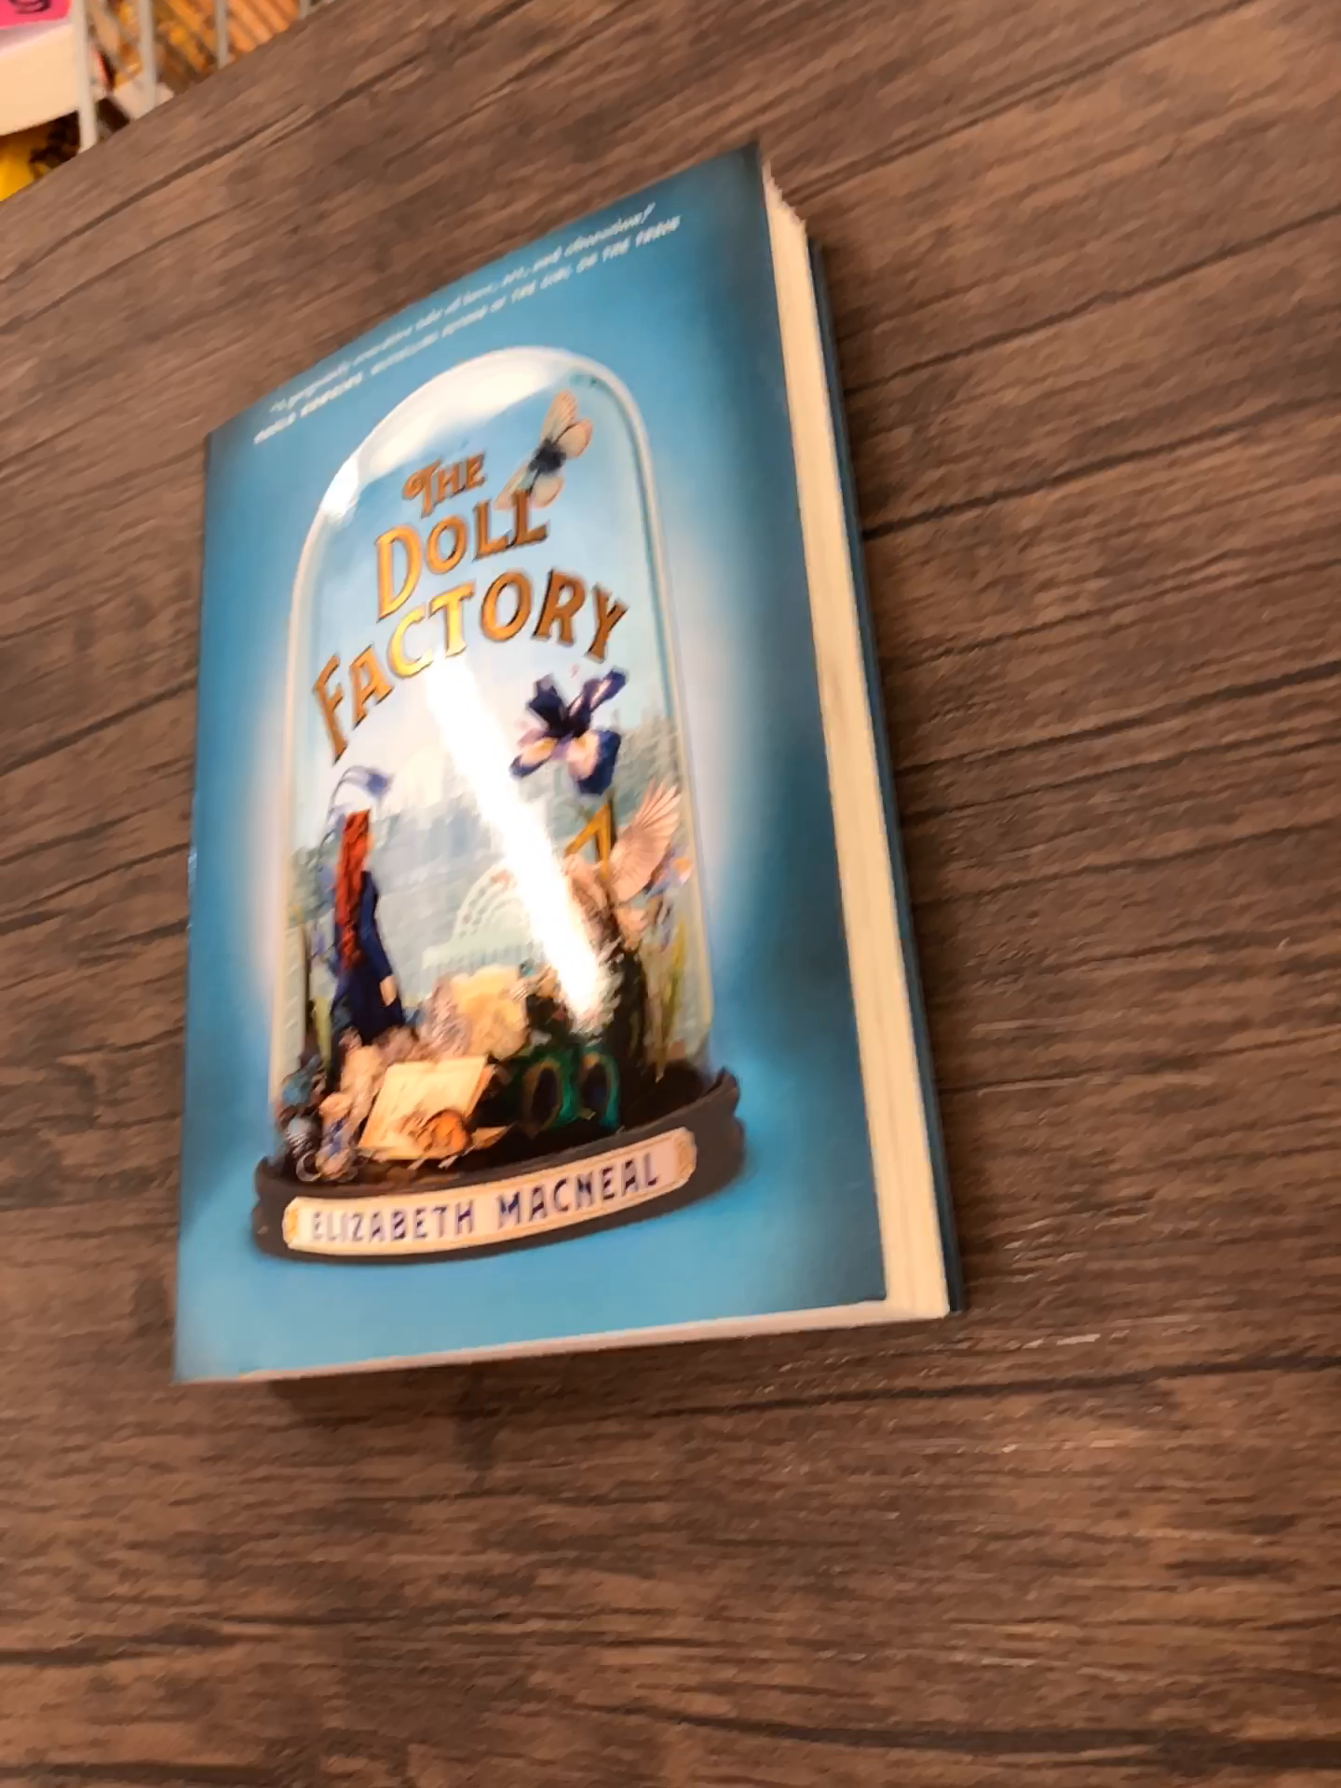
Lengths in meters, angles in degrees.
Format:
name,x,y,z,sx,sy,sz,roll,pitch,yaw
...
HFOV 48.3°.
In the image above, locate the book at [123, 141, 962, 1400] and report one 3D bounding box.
name,x,y,z,sx,sy,sz,roll,pitch,yaw
book,-0.038,-0.021,0.316,0.160,0.040,0.230,-14,69,26
